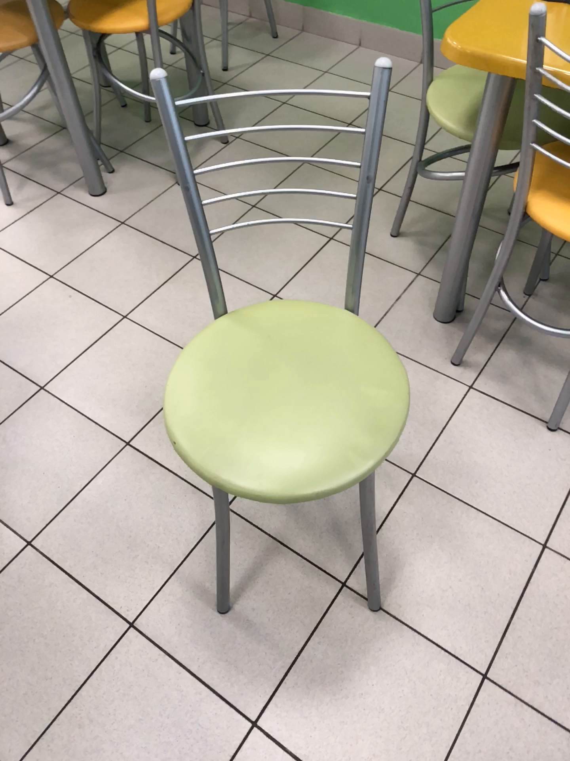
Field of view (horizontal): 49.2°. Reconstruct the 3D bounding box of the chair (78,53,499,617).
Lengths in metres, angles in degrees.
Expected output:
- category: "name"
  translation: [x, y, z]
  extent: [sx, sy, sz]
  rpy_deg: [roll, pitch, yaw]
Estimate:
- category: "chair"
  translation: [0.012, 0.005, 1.026]
  extent: [0.374, 0.826, 0.481]
  rpy_deg: [-2, 51, 1]
